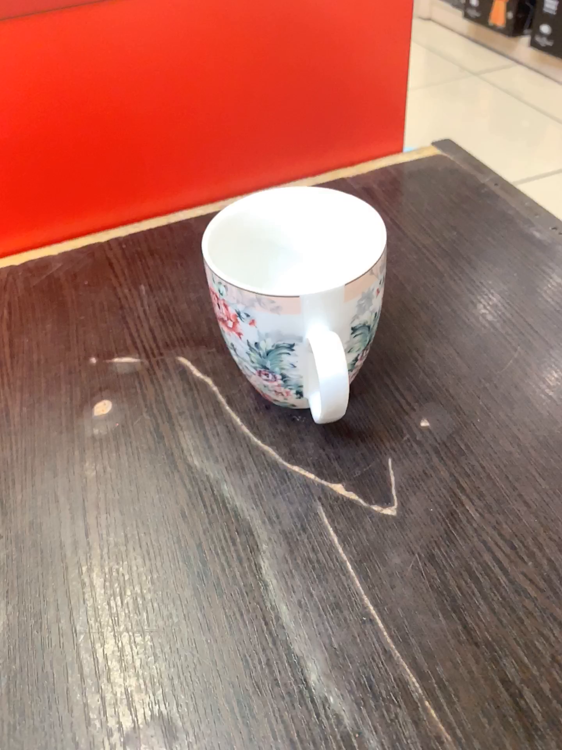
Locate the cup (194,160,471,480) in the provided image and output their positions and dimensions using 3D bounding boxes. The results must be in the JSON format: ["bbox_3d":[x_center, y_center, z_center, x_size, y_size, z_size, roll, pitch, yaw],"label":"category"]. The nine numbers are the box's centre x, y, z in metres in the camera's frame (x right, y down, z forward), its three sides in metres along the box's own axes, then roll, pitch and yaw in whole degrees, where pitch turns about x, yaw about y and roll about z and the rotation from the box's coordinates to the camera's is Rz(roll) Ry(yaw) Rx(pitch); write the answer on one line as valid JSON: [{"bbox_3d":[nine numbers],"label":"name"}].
[{"bbox_3d":[0.015,-0.028,0.252,0.080,0.070,0.110,-12,46,-5],"label":"cup"}]
